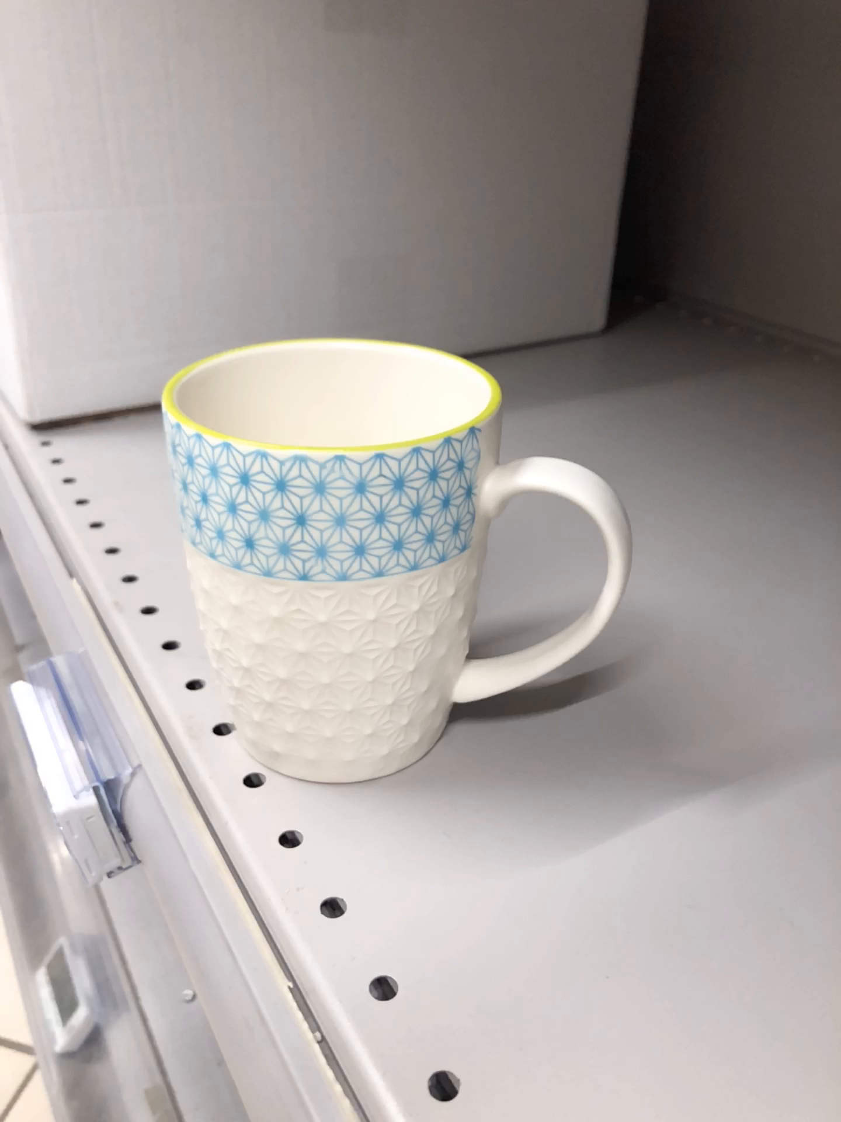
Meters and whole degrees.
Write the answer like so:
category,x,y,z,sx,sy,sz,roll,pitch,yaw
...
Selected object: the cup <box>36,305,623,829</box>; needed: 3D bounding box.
category,x,y,z,sx,sy,sz,roll,pitch,yaw
cup,-0.012,-0.007,0.248,0.118,0.091,0.099,5,29,8
